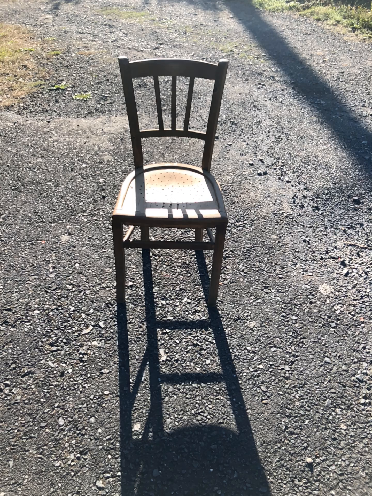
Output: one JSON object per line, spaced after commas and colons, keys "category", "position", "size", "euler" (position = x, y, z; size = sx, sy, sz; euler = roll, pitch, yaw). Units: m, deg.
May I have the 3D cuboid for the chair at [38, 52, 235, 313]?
{"category": "chair", "position": [-0.110, -0.218, 1.457], "size": [0.490, 0.735, 0.543], "euler": [1, 44, 2]}
